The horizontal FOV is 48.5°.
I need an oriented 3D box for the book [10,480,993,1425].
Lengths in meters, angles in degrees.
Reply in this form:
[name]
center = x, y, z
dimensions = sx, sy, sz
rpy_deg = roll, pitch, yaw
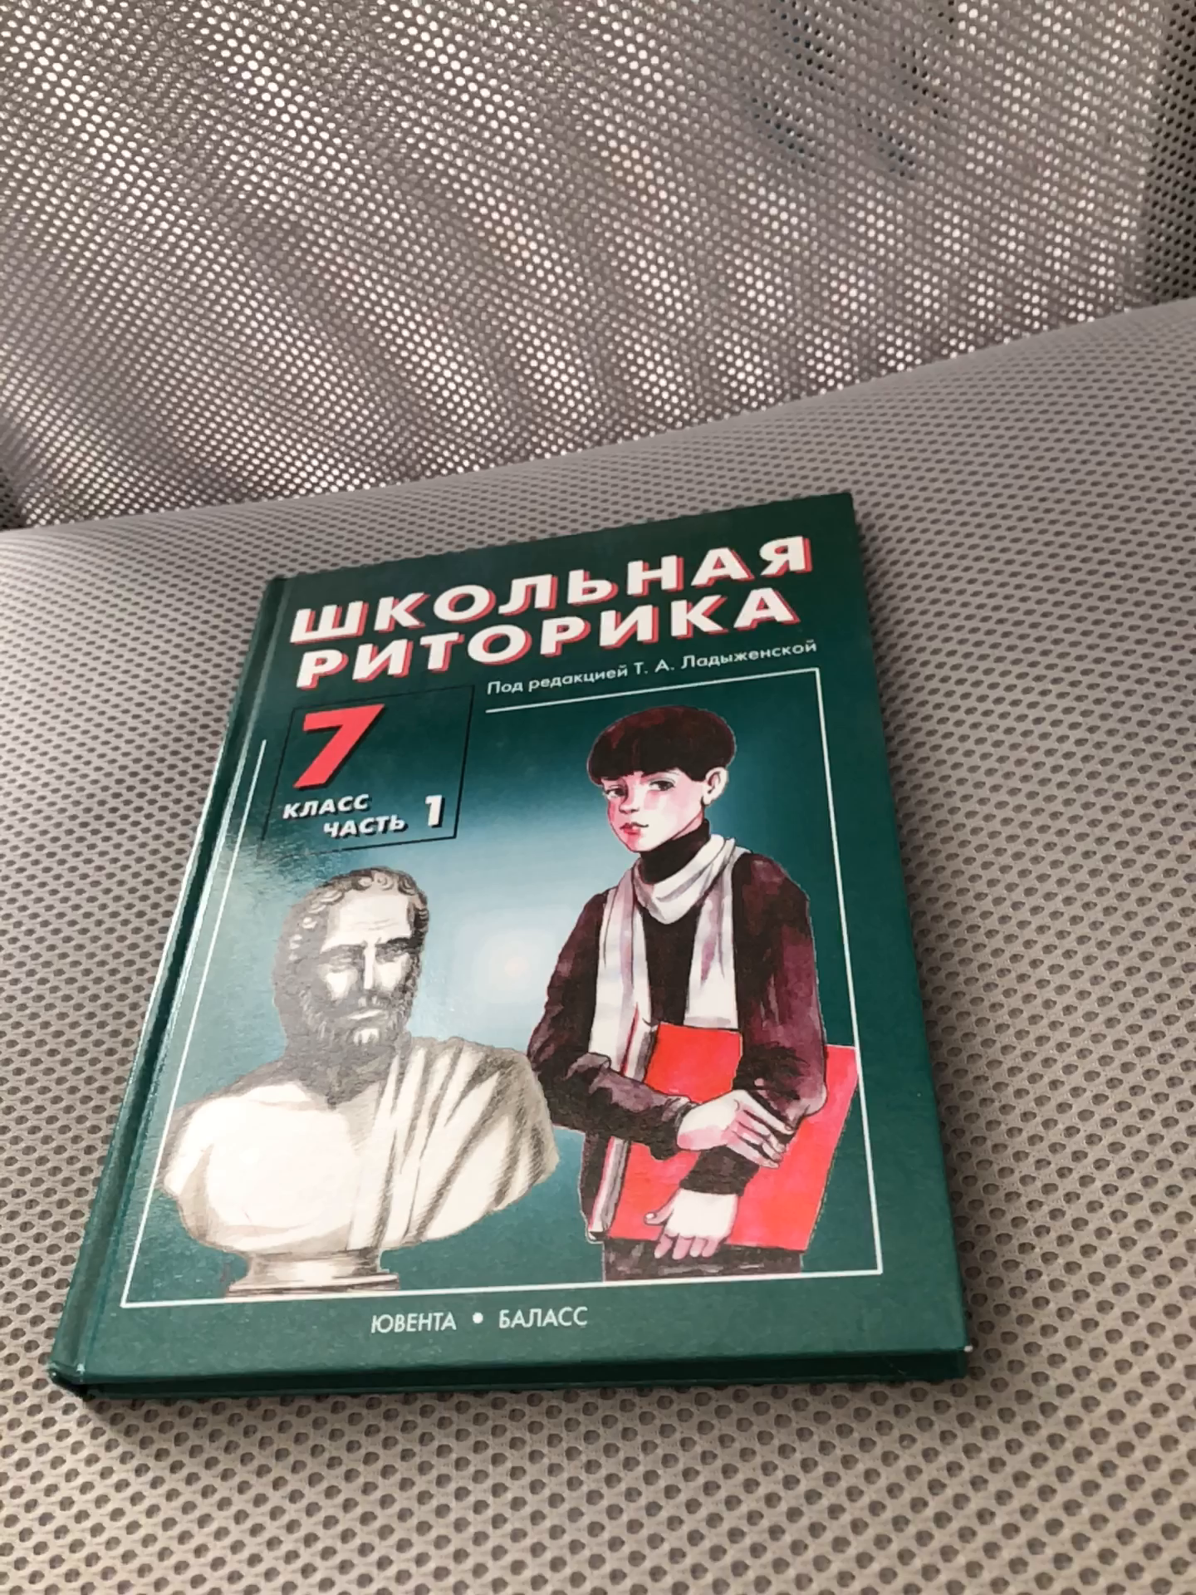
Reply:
[book]
center = -0.016, 0.020, 0.295
dimensions = 0.167, 0.030, 0.211
rpy_deg = -6, 50, 10
